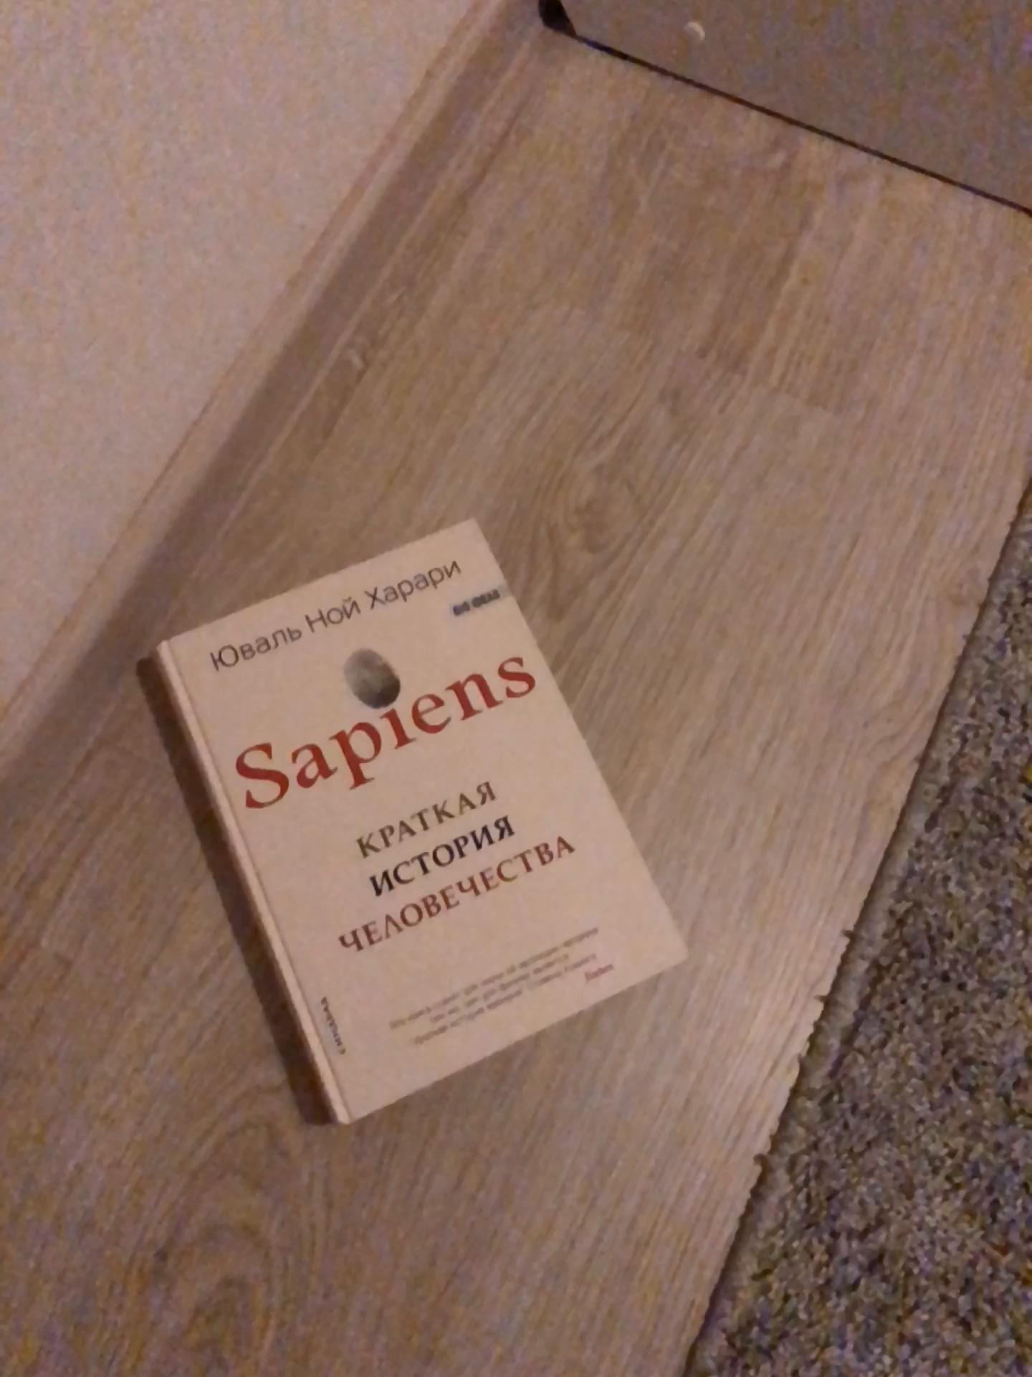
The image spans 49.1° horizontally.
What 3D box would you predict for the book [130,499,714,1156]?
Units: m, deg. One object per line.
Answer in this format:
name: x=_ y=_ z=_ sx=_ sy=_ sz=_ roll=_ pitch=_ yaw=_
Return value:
book: x=-0.051 y=0.056 z=0.548 sx=0.187 sy=0.040 sz=0.258 roll=-23 pitch=72 yaw=-9
